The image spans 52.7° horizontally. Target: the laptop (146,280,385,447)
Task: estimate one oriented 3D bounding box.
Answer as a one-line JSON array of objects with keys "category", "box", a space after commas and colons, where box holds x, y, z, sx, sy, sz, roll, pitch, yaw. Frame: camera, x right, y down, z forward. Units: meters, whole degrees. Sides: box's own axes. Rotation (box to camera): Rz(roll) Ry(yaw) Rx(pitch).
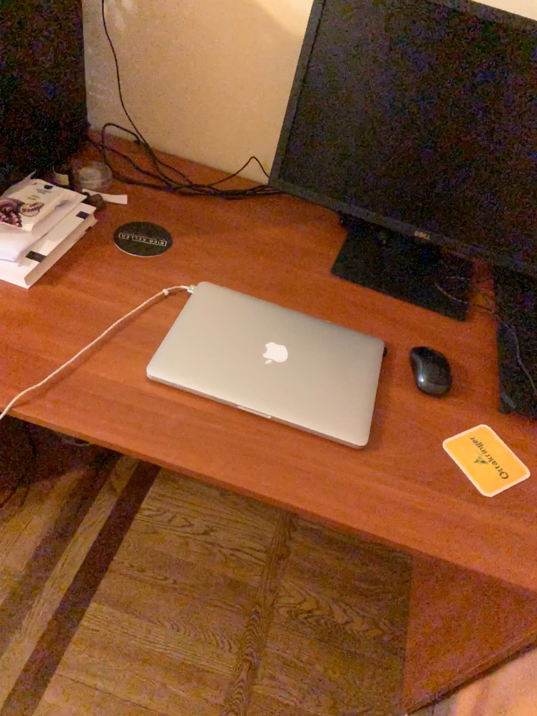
[{"category": "laptop", "box": [0.011, -0.005, 0.788, 0.305, 0.001, 0.214, 19, 46, 3]}]
